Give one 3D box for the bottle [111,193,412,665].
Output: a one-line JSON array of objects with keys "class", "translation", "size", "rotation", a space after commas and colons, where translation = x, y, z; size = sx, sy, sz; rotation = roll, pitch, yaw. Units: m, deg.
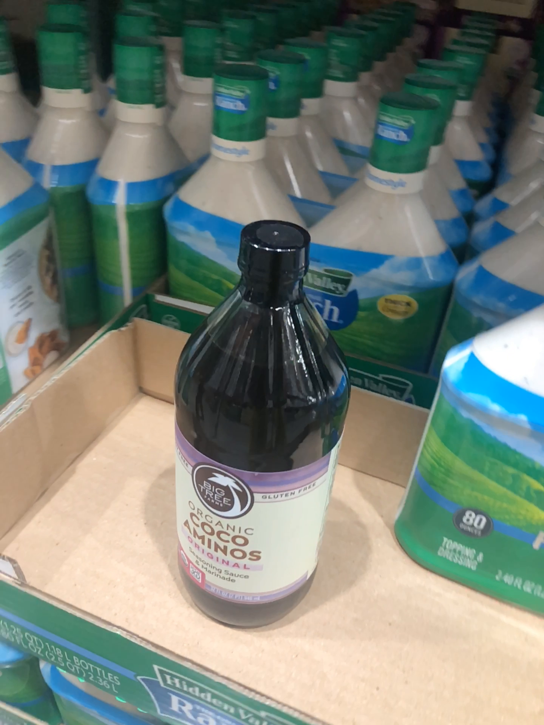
[{"class": "bottle", "translation": [-0.011, 0.043, 0.331], "size": [0.100, 0.229, 0.090], "rotation": [22, 39, 21]}]
